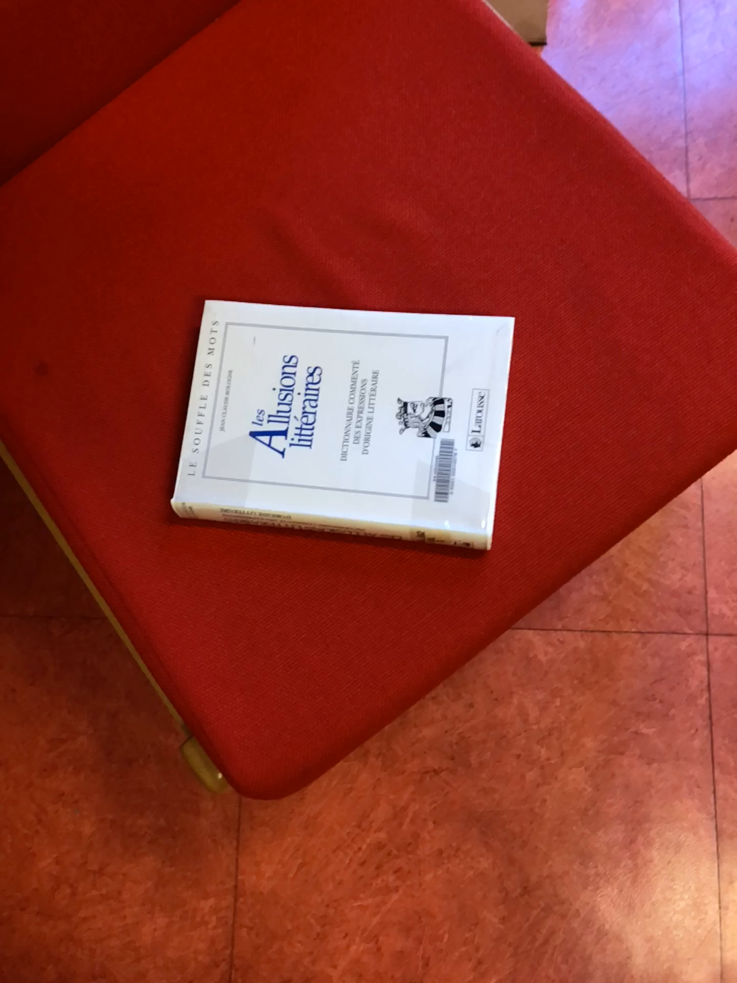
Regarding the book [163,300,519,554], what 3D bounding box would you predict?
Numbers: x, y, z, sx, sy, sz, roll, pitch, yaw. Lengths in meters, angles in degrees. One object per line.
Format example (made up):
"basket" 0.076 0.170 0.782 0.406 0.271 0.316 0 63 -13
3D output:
"book" -0.016 -0.045 0.537 0.217 0.030 0.150 5 81 9
